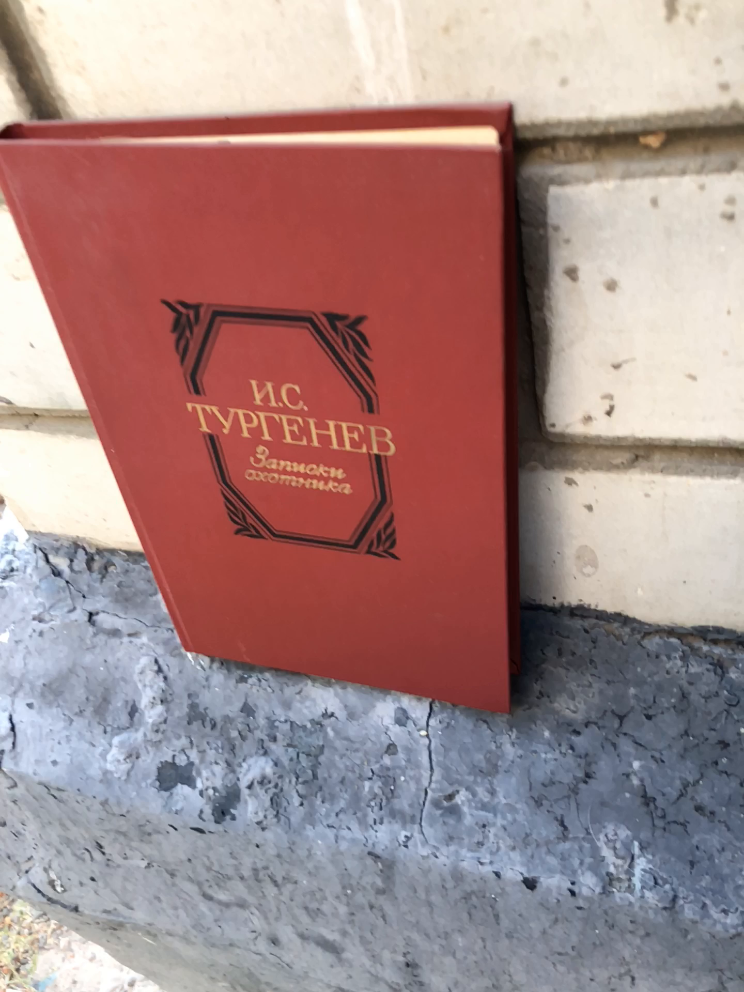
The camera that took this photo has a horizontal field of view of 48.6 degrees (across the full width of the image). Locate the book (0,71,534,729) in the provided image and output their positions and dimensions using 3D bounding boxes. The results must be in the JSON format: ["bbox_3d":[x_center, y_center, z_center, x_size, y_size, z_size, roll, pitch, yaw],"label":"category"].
[{"bbox_3d":[-0.028,-0.014,0.260,0.147,0.205,0.026,7,42,22],"label":"book"}]
